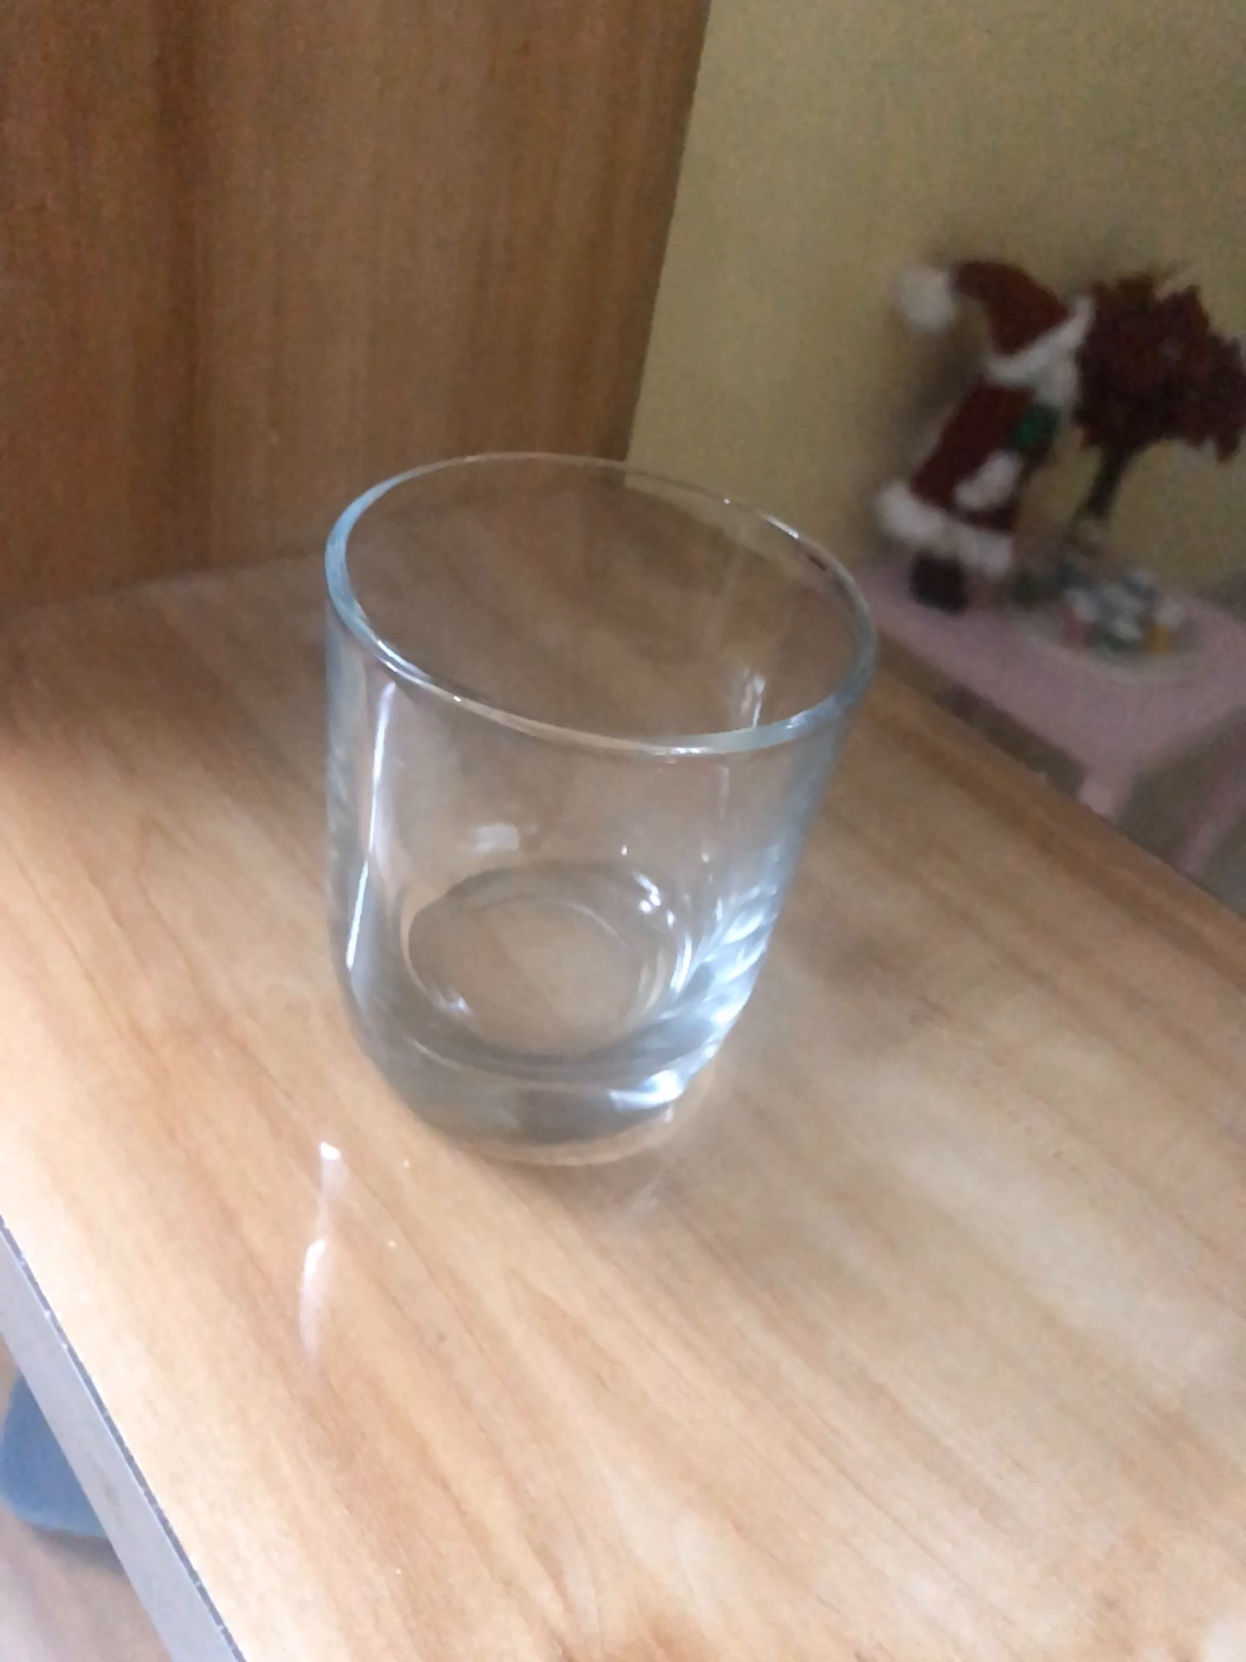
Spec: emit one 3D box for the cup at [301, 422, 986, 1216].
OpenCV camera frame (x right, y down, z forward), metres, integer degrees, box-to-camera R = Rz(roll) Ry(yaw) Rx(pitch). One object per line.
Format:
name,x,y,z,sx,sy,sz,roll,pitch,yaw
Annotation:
cup,-0.008,-0.005,0.236,0.080,0.090,0.090,-2,40,-17
